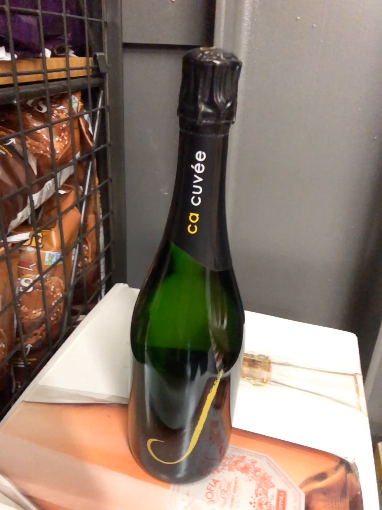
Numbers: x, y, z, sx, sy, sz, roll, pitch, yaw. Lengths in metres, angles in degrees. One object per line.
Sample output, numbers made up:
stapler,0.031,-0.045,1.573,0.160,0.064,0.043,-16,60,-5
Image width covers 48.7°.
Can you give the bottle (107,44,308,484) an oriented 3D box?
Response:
bottle,0.000,0.018,0.291,0.090,0.289,0.090,2,25,-1
